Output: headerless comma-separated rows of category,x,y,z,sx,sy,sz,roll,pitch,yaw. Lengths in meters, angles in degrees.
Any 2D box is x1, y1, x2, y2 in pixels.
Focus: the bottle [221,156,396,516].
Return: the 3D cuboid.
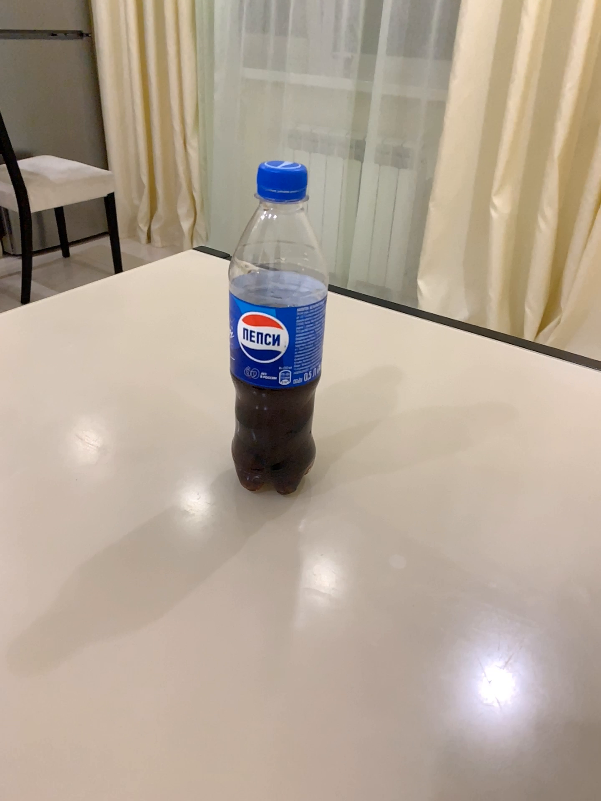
bottle,-0.003,-0.041,0.431,0.080,0.229,0.080,2,31,-1
